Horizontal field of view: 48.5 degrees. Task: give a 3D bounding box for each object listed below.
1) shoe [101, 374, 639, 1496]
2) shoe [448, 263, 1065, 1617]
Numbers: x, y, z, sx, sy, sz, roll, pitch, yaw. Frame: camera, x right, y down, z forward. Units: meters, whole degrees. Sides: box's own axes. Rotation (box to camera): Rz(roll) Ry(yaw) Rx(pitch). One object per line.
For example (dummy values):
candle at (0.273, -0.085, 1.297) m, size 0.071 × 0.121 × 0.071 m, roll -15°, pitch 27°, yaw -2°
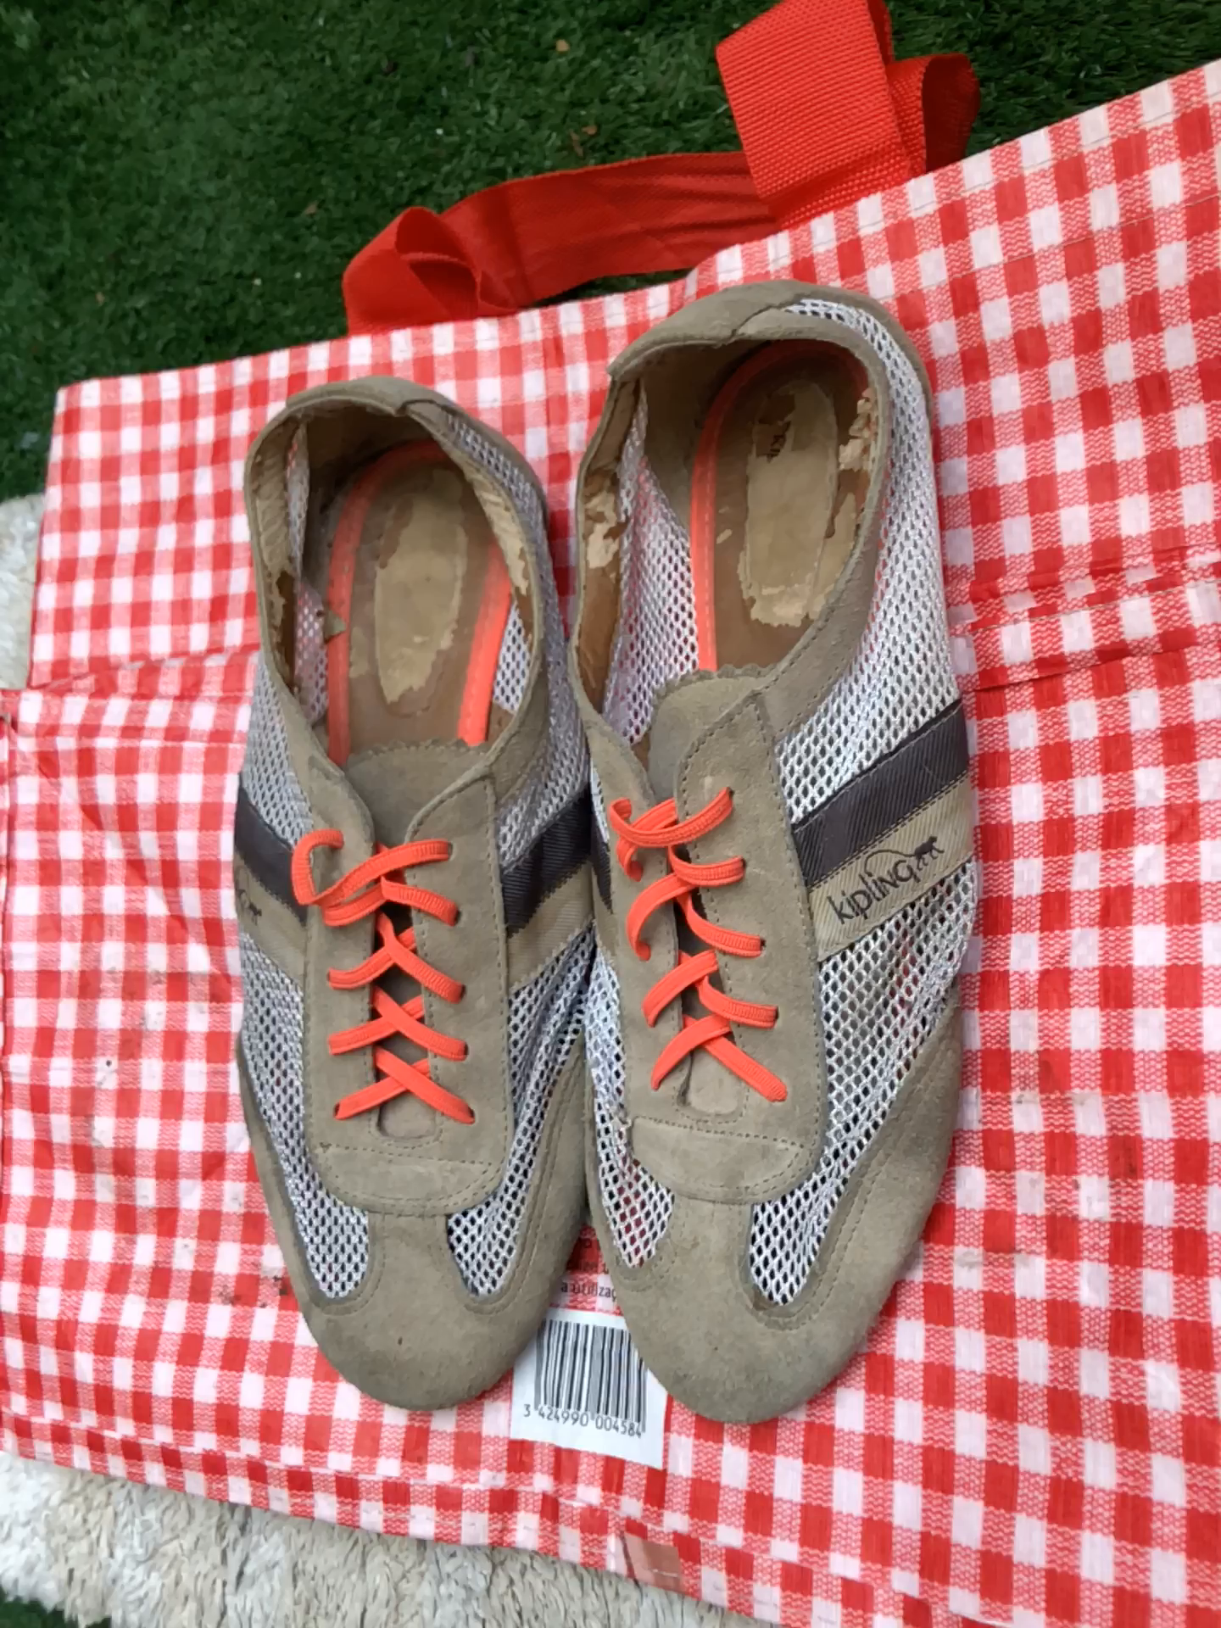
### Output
shoe at (-0.054, 0.029, 0.322) m, size 0.100 × 0.050 × 0.240 m, roll -4°, pitch 89°, yaw 9°
shoe at (0.027, 0.023, 0.282) m, size 0.100 × 0.050 × 0.230 m, roll -4°, pitch 91°, yaw 42°
